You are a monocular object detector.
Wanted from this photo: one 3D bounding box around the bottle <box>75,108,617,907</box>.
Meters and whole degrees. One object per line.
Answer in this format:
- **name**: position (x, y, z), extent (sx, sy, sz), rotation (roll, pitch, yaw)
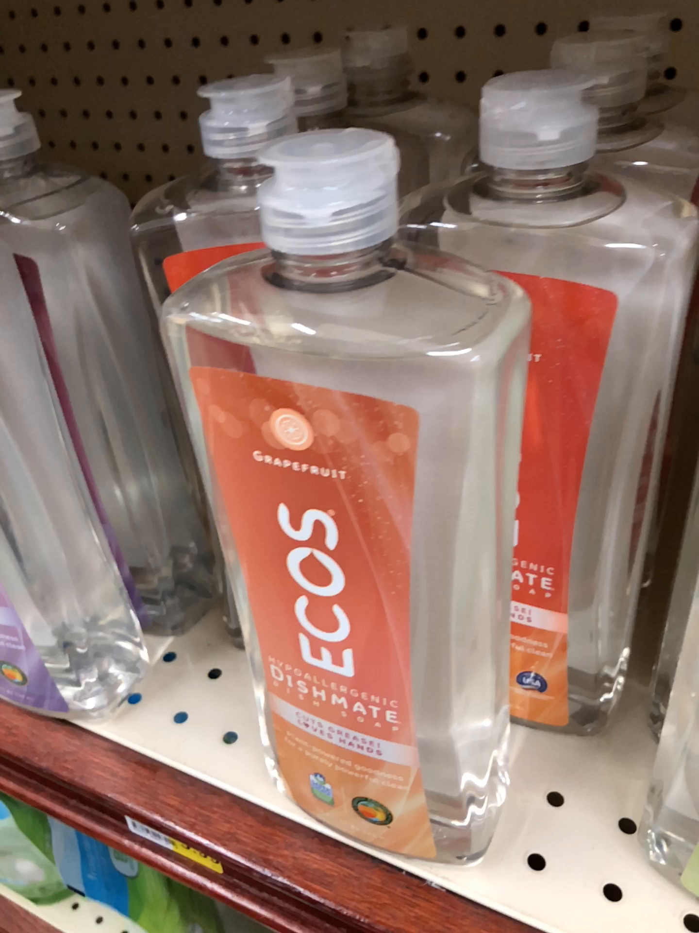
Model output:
- **bottle**: position (0.010, 0.026, 0.216), extent (0.092, 0.219, 0.050), rotation (12, 40, 24)
